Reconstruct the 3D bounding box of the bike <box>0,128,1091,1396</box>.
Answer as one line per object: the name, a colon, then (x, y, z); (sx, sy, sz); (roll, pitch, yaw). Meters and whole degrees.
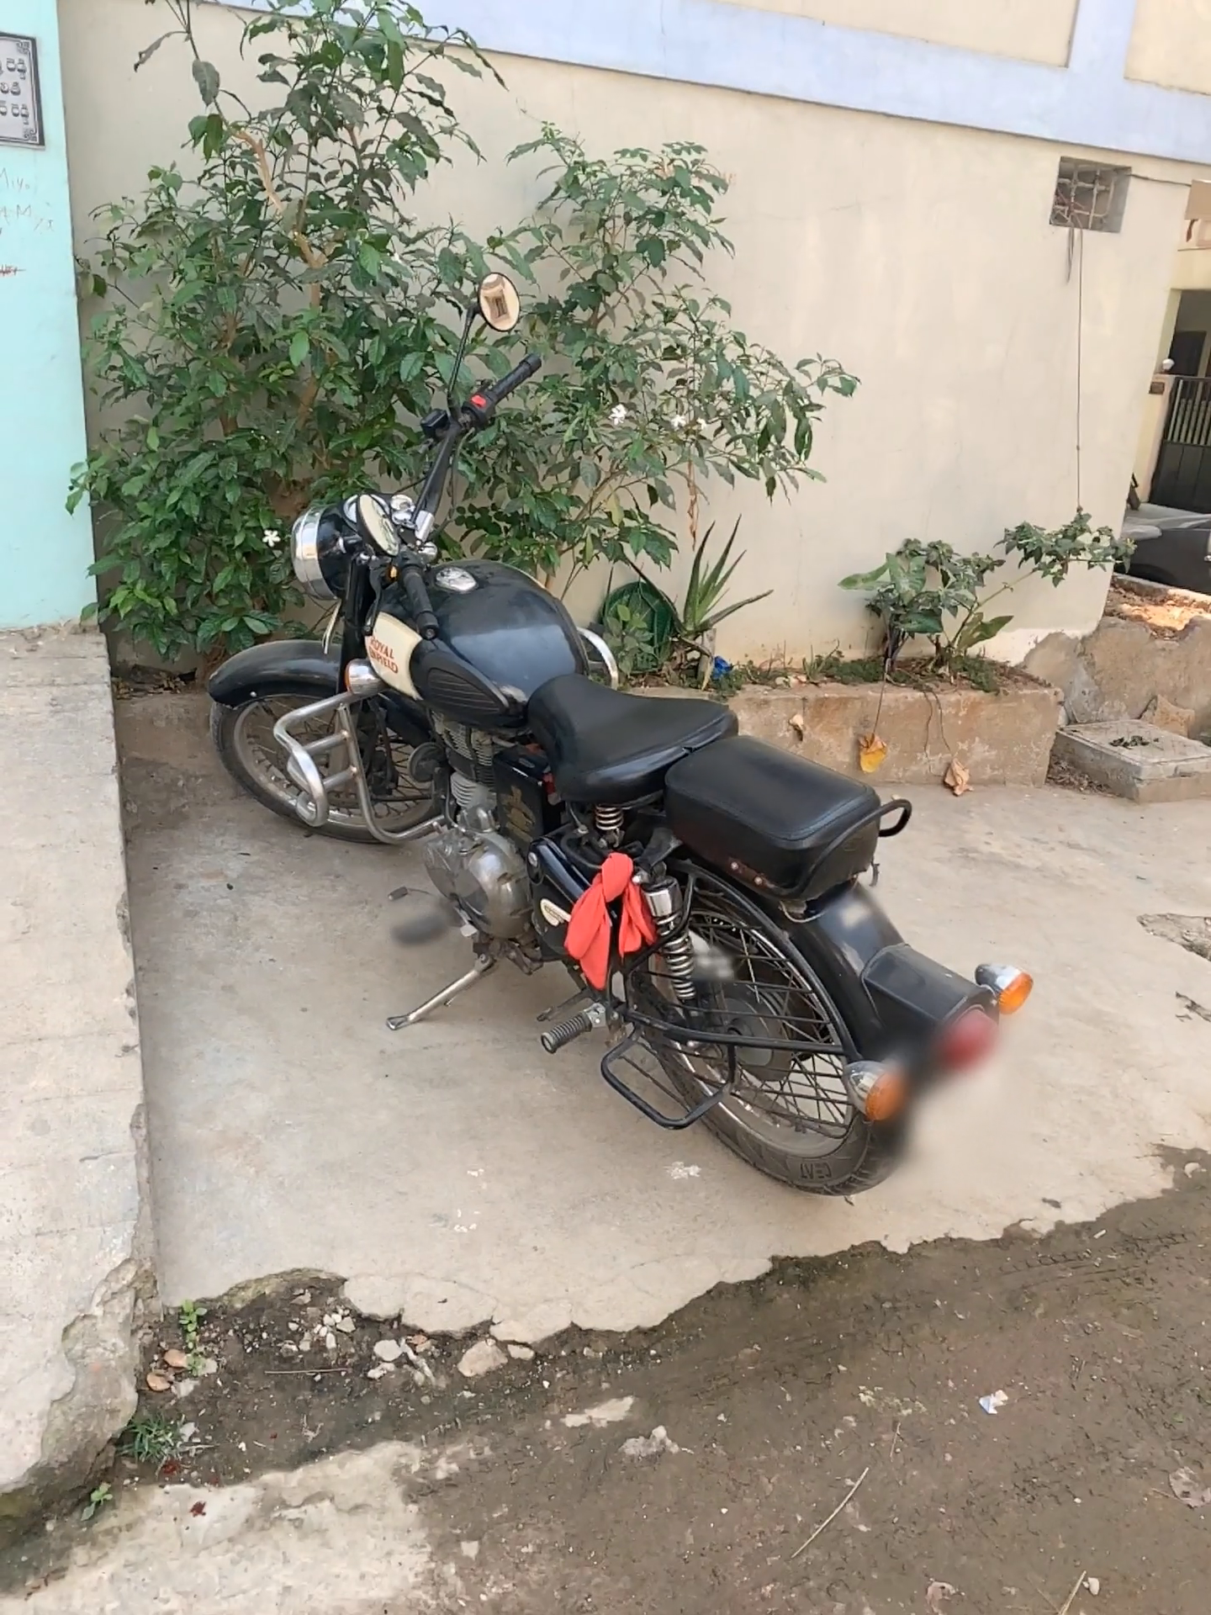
bike: (-0.257, -0.268, 2.227); (1.790, 1.340, 0.747); (26, 29, 33)
